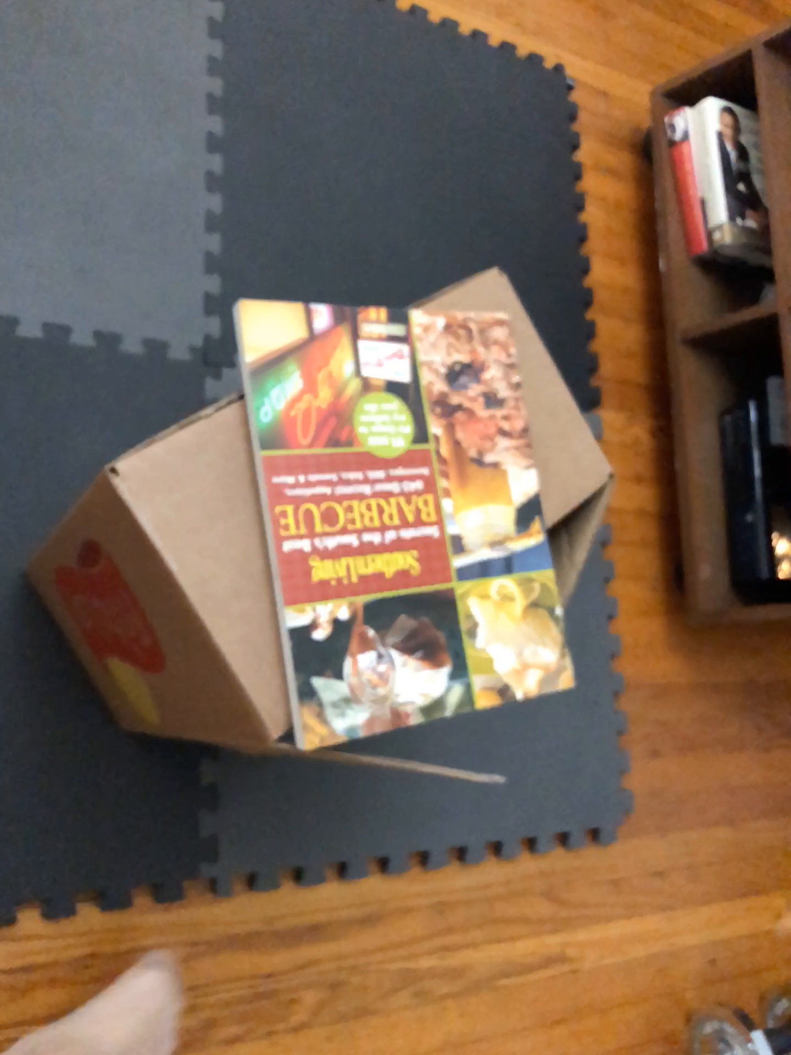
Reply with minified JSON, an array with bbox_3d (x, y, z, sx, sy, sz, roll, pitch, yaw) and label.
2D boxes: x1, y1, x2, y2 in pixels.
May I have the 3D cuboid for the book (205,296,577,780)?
[{"bbox_3d":[0.003,-0.005,0.583,0.221,0.020,0.290,-5,82,-30],"label":"book"}]
